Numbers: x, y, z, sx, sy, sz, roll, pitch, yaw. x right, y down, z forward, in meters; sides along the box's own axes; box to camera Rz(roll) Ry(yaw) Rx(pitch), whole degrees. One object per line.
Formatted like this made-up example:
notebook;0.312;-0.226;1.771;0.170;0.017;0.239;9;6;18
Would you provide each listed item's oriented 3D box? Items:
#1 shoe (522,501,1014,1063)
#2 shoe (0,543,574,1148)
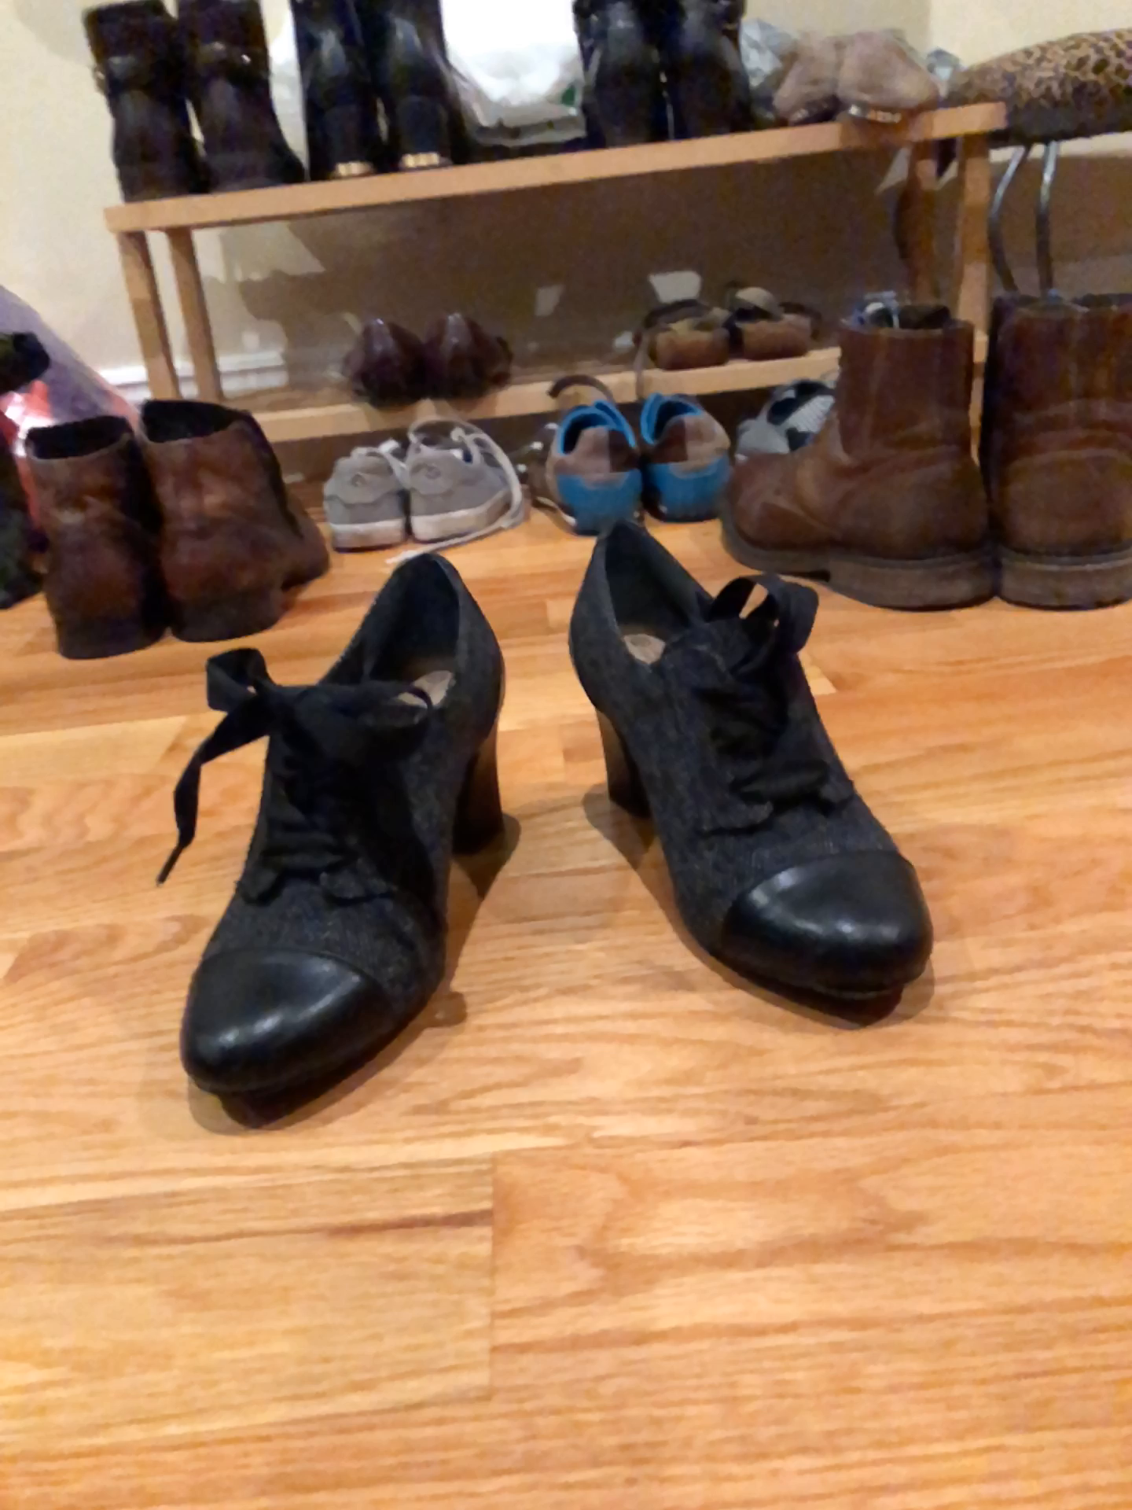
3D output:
shoe;0.061;-0.010;0.471;0.088;0.125;0.224;-12;23;-13
shoe;-0.081;0.013;0.455;0.093;0.125;0.224;2;24;19
